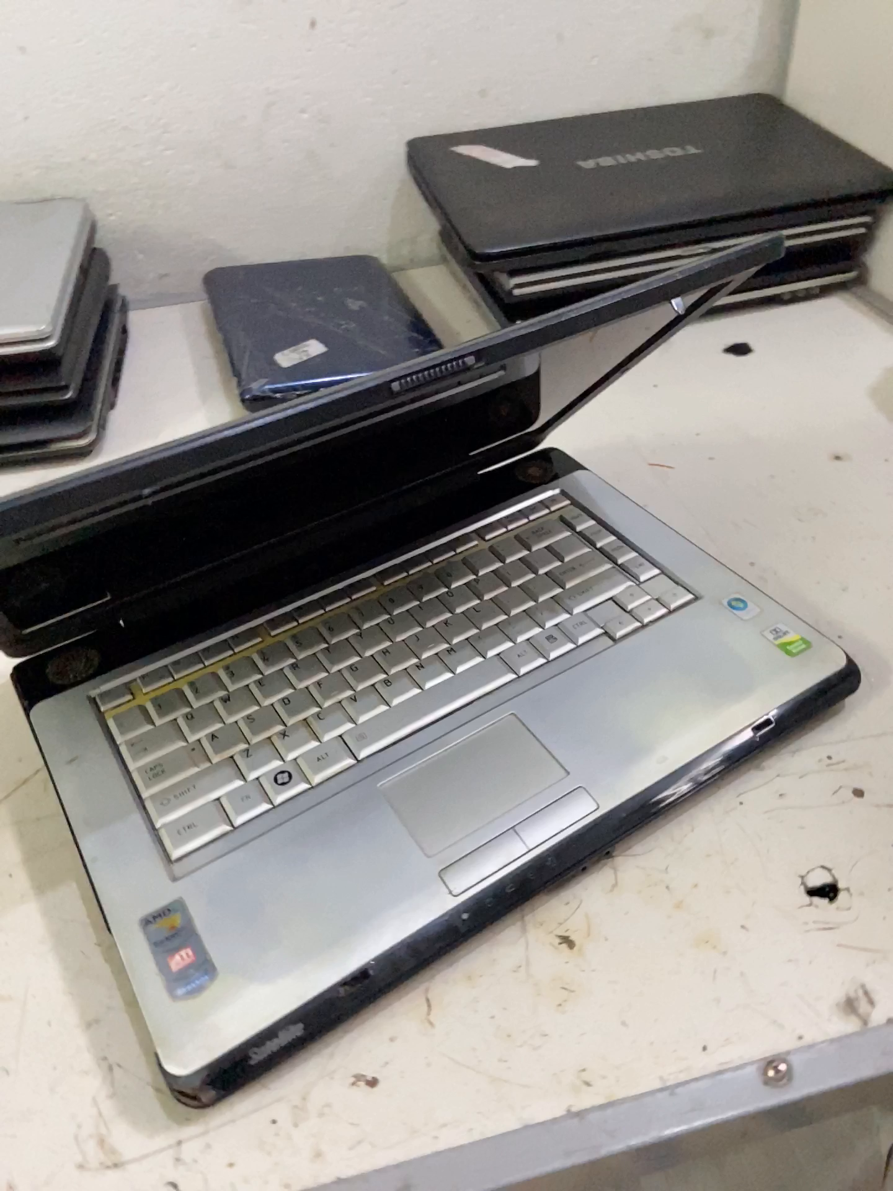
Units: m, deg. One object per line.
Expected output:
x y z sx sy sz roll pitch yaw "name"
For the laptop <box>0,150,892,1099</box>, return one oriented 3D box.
-0.015 -0.032 0.415 0.356 0.185 0.257 -25 46 -22 "laptop"
